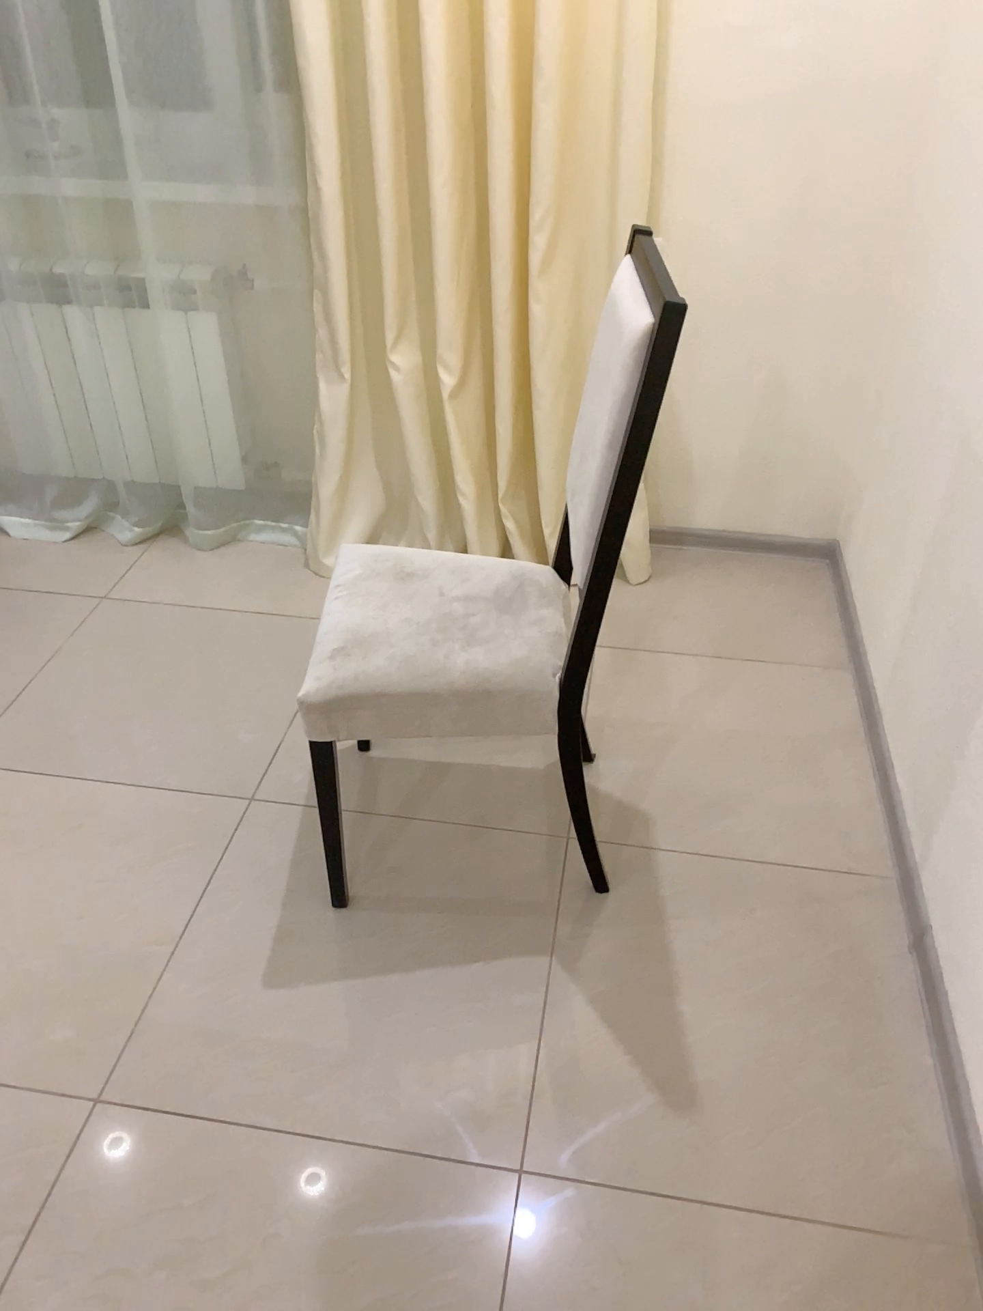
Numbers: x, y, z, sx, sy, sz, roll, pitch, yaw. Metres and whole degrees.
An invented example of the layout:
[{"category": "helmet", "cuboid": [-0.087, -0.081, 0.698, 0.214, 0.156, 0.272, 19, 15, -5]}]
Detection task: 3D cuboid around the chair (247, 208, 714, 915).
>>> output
[{"category": "chair", "cuboid": [-0.023, -0.122, 1.563, 0.510, 0.964, 0.483, 2, 34, 0]}]
